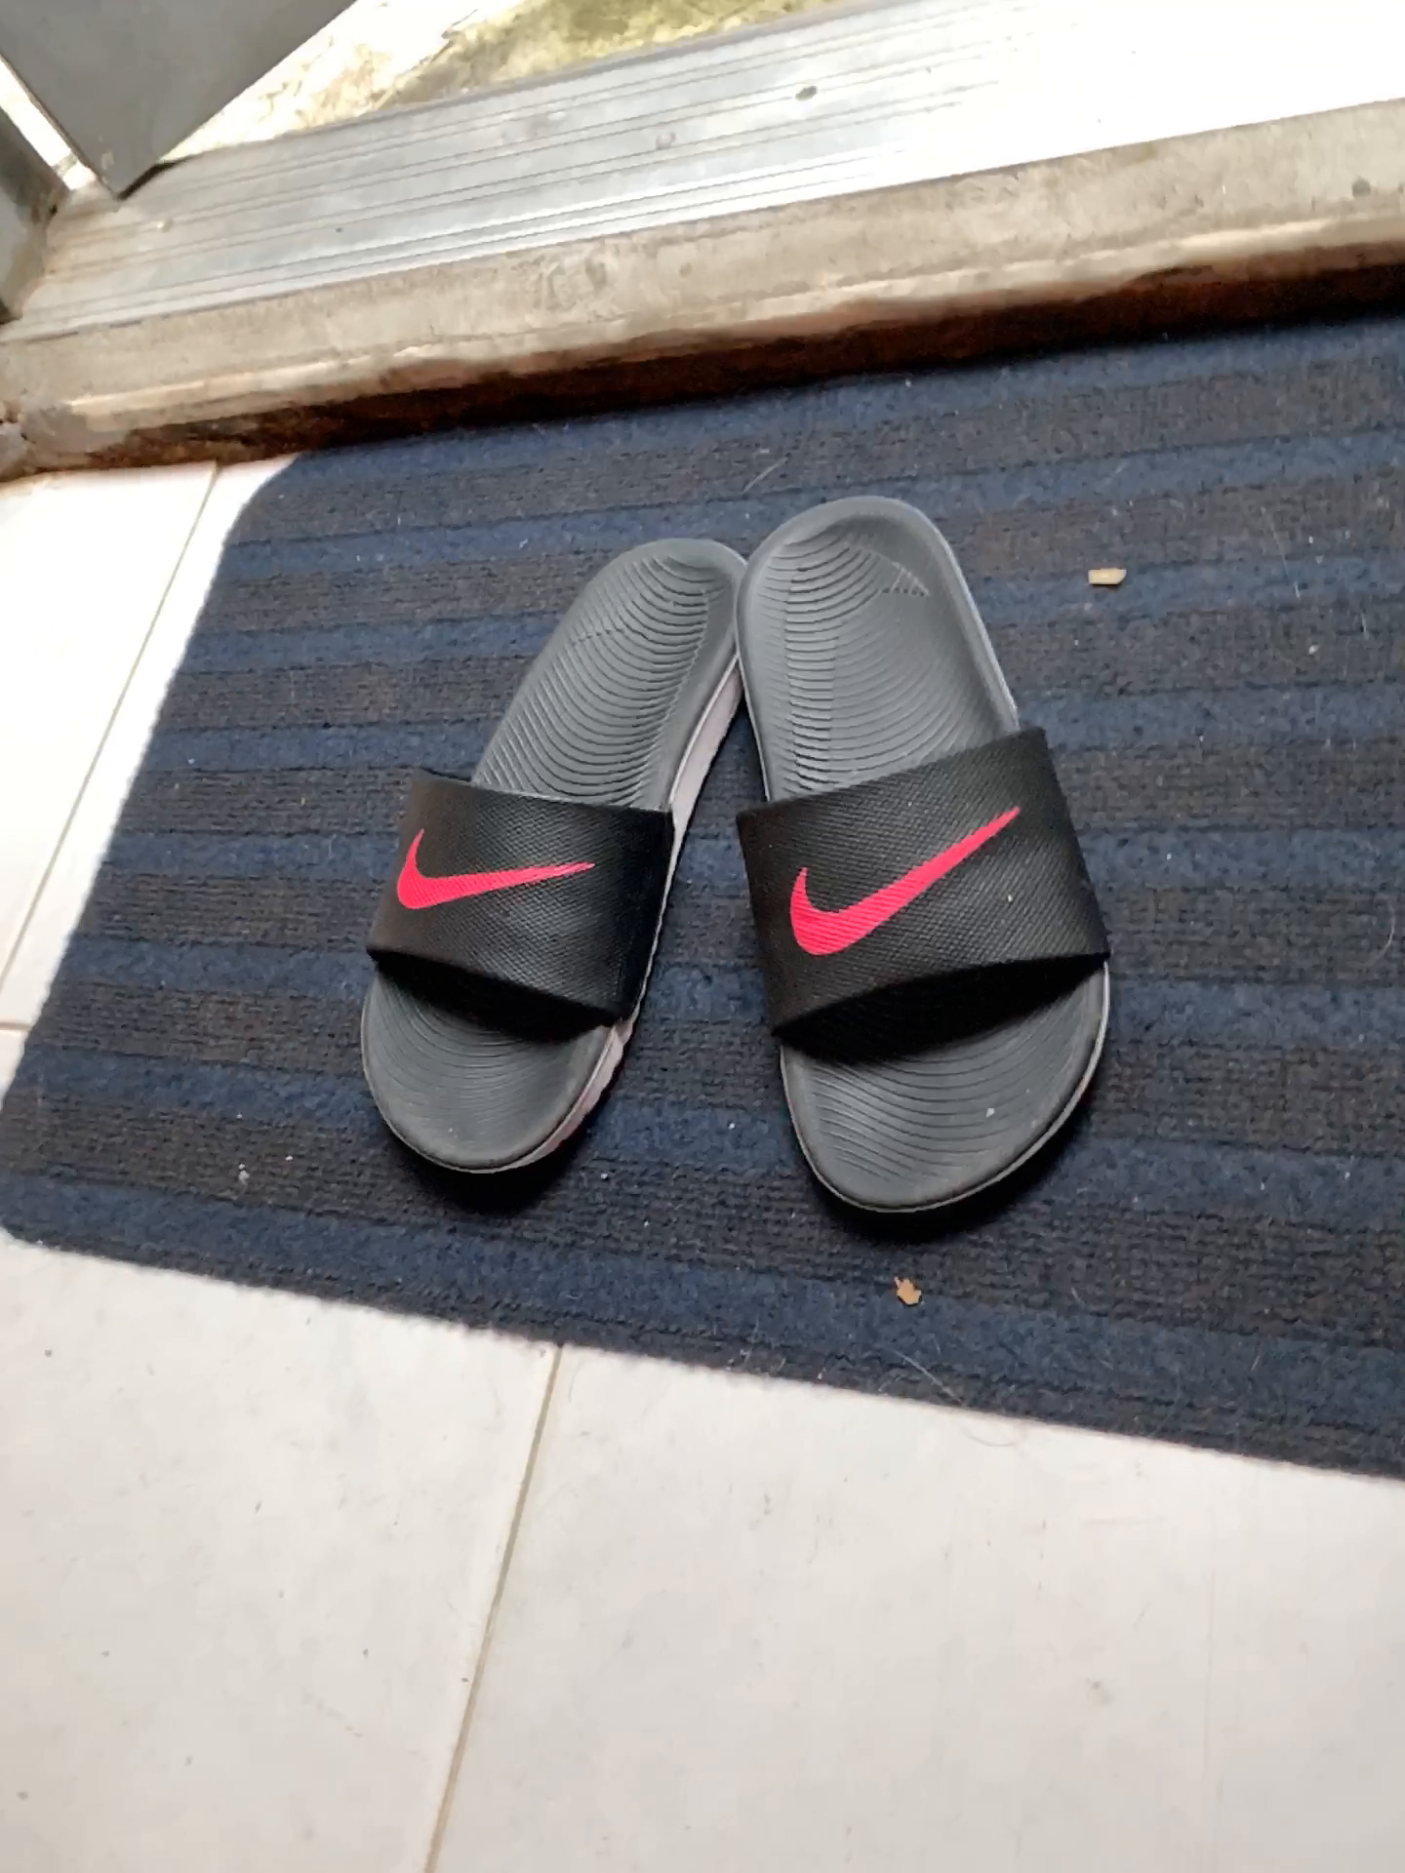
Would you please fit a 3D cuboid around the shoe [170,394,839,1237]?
[{"bbox_3d":[-0.052,-0.047,0.458,0.099,0.078,0.251,11,69,27],"label":"shoe"}]

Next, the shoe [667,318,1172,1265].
[{"bbox_3d":[0.055,-0.046,0.412,0.099,0.078,0.251,-13,60,17],"label":"shoe"}]
